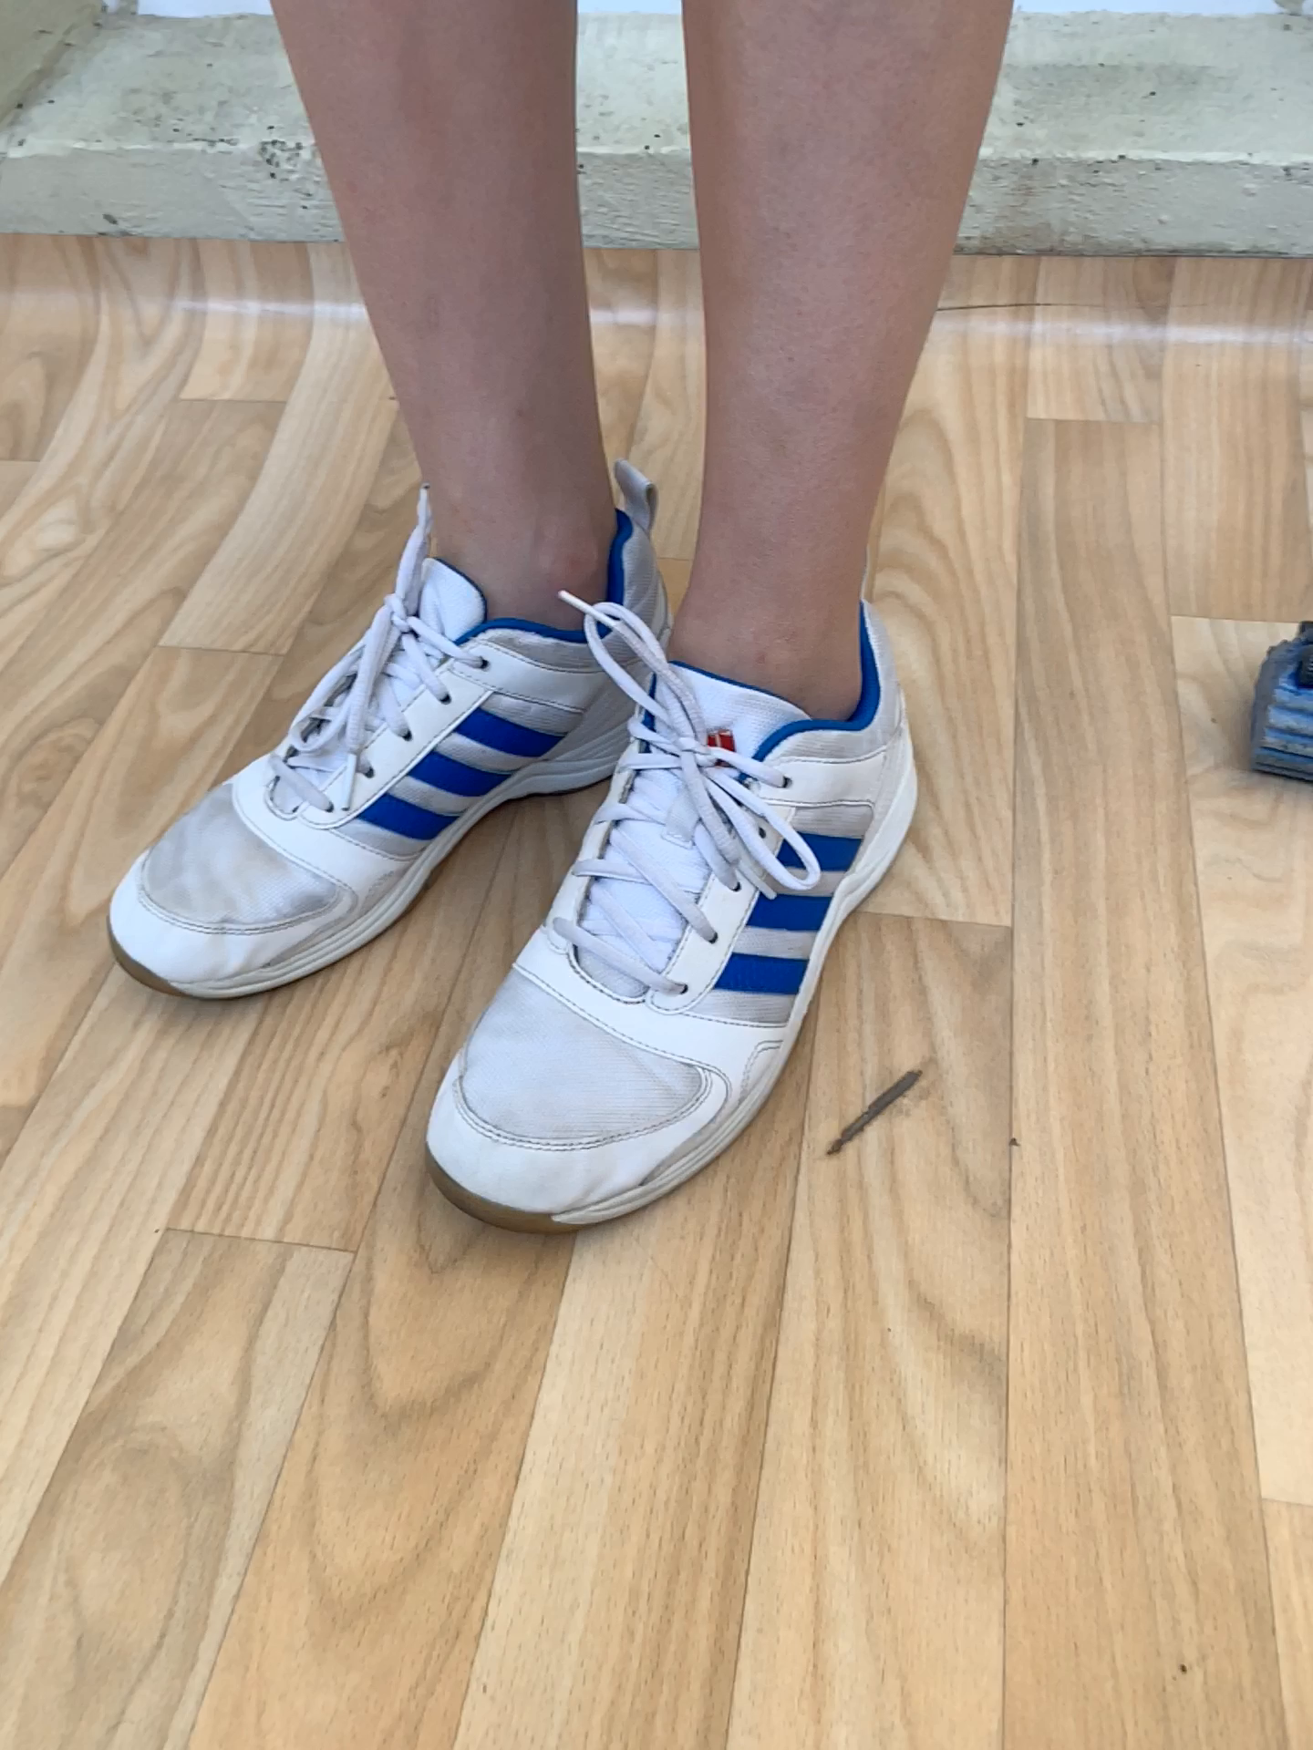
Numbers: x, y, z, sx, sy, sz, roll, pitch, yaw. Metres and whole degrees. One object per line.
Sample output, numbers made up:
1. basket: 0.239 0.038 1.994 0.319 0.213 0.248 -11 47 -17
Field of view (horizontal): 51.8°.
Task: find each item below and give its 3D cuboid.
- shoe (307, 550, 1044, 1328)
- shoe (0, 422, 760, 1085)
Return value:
1. shoe: 0.021 0.005 0.461 0.100 0.090 0.260 27 54 26
2. shoe: -0.093 -0.055 0.516 0.260 0.120 0.100 -31 52 -23
